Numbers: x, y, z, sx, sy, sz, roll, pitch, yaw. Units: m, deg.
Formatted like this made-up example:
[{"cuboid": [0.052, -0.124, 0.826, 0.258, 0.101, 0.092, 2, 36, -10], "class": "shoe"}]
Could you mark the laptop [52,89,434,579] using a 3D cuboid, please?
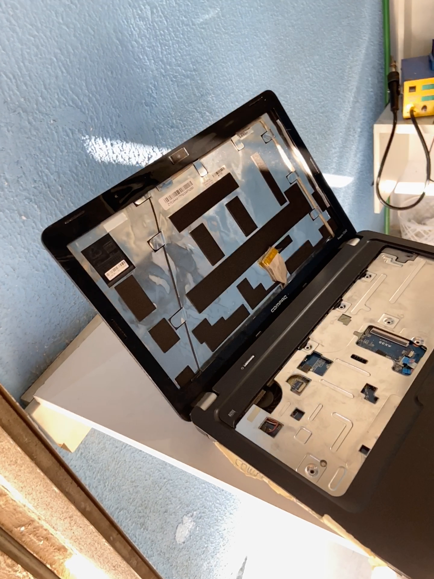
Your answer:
[{"cuboid": [0.104, -0.027, 0.421, 0.336, 0.182, 0.332, 22, 53, 38], "class": "laptop"}]
